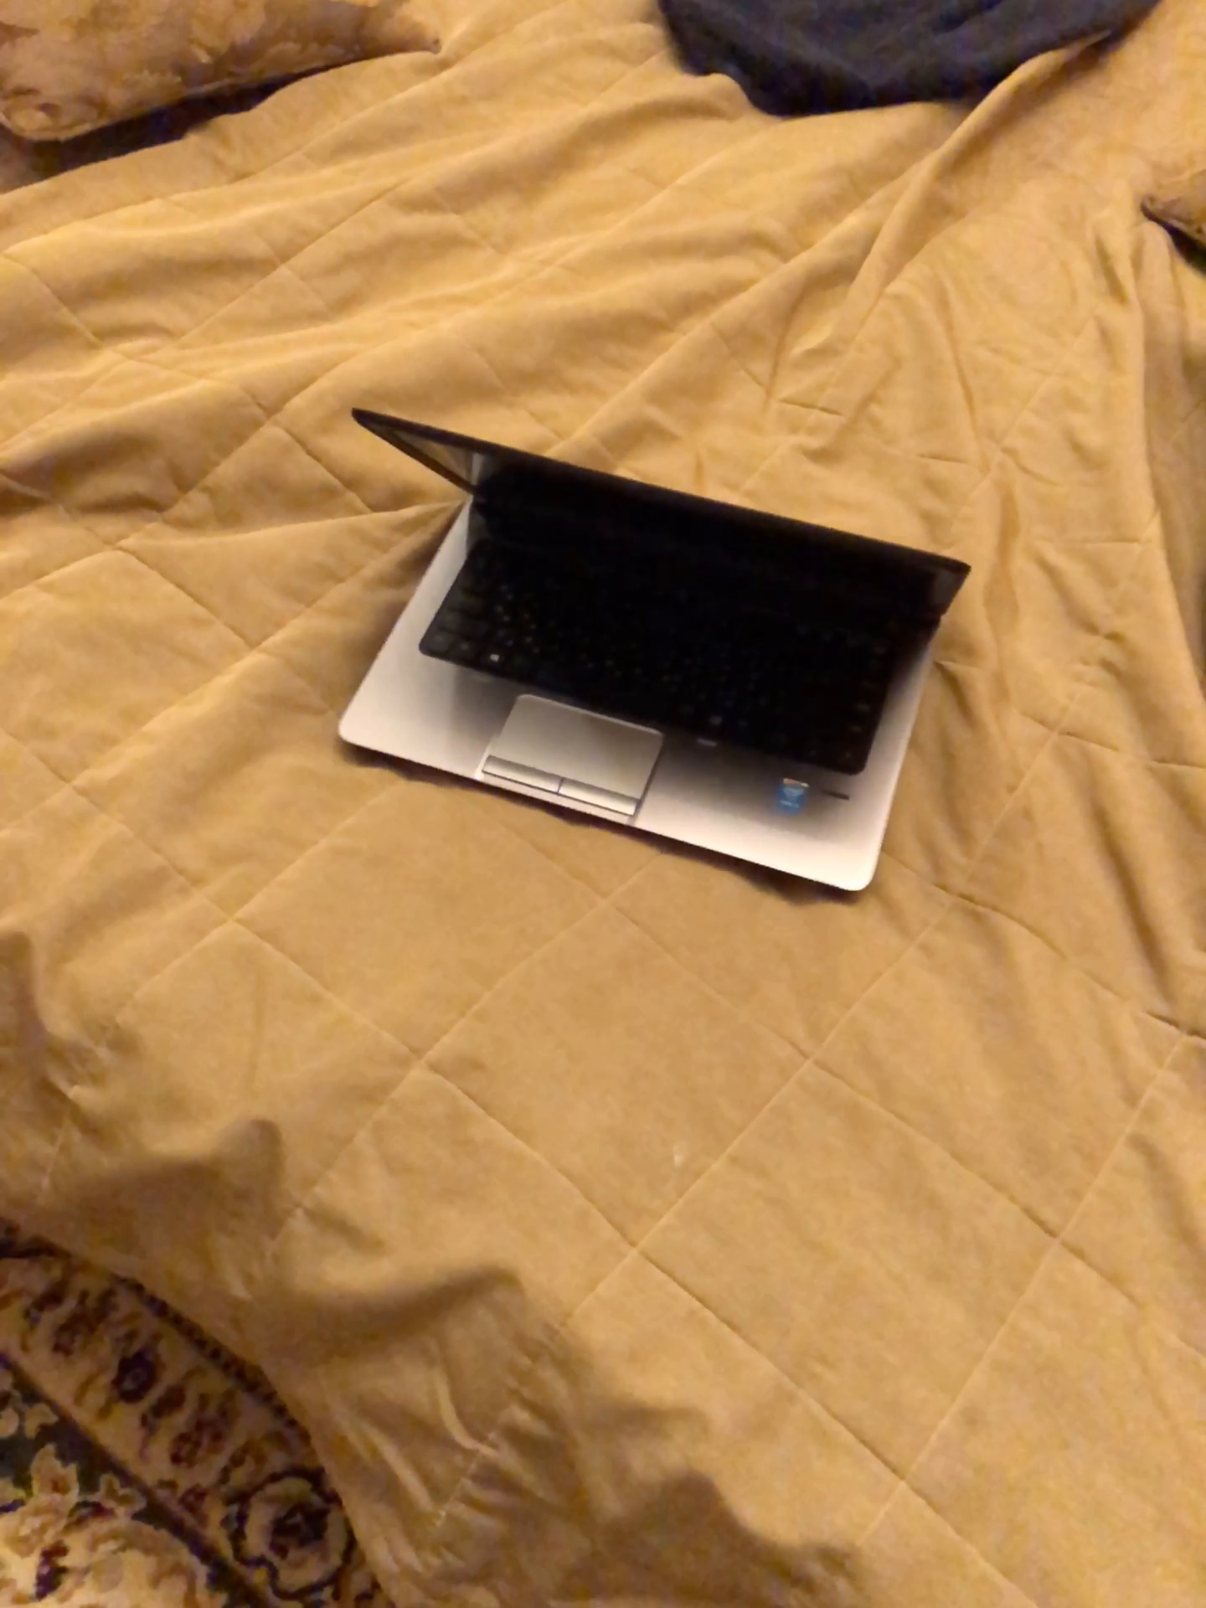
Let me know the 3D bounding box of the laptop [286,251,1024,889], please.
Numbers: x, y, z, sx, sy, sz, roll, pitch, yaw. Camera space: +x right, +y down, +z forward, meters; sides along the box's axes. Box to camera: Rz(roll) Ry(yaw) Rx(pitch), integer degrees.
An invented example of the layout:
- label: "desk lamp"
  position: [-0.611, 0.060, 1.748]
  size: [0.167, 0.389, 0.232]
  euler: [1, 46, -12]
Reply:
- label: "laptop"
  position: [0.034, -0.137, 0.769]
  size: [0.331, 0.189, 0.226]
  euler: [16, 57, 8]
